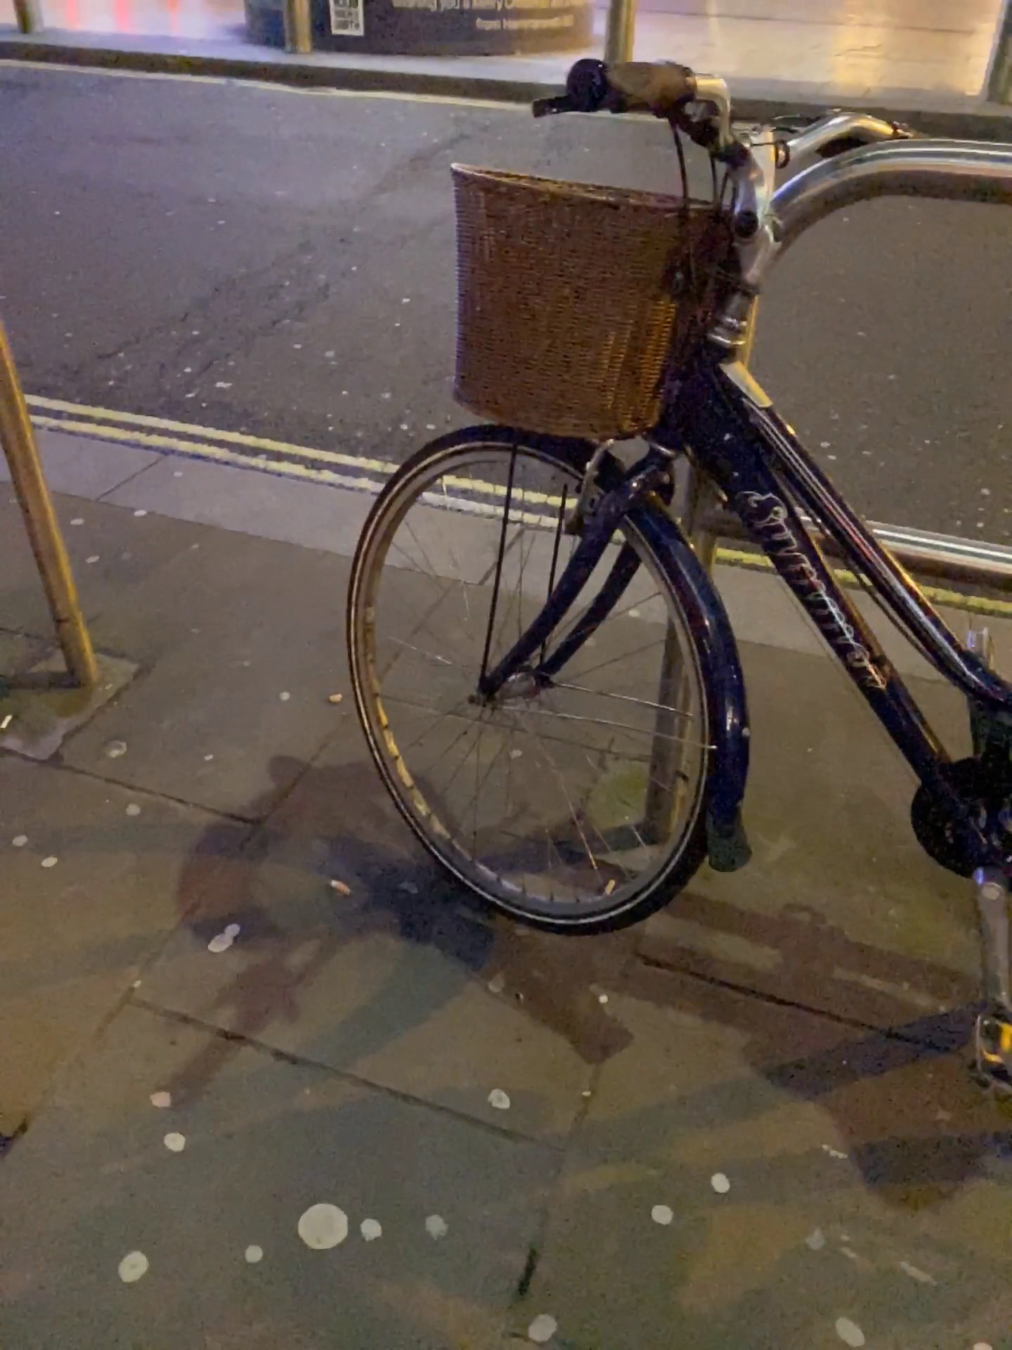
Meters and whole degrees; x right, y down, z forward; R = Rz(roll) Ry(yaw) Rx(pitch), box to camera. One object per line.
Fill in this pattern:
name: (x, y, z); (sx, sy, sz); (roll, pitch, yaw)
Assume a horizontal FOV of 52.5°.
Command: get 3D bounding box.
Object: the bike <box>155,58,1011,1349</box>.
bike: (0.570, -0.030, 1.179); (1.711, 1.063, 0.663); (17, 40, 22)
